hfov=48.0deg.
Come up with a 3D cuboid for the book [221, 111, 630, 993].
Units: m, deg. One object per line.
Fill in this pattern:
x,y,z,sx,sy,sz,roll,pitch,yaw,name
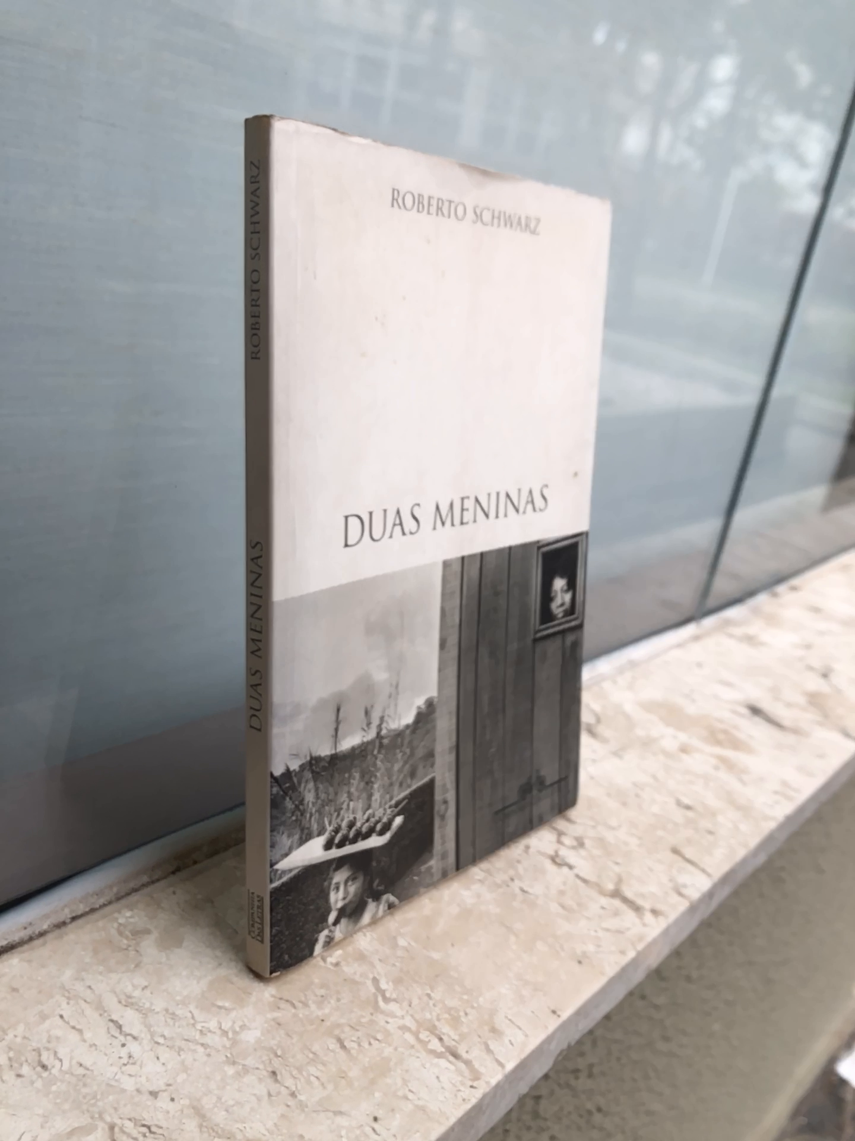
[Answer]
0.005,-0.006,0.274,0.016,0.205,0.139,13,17,41,book
